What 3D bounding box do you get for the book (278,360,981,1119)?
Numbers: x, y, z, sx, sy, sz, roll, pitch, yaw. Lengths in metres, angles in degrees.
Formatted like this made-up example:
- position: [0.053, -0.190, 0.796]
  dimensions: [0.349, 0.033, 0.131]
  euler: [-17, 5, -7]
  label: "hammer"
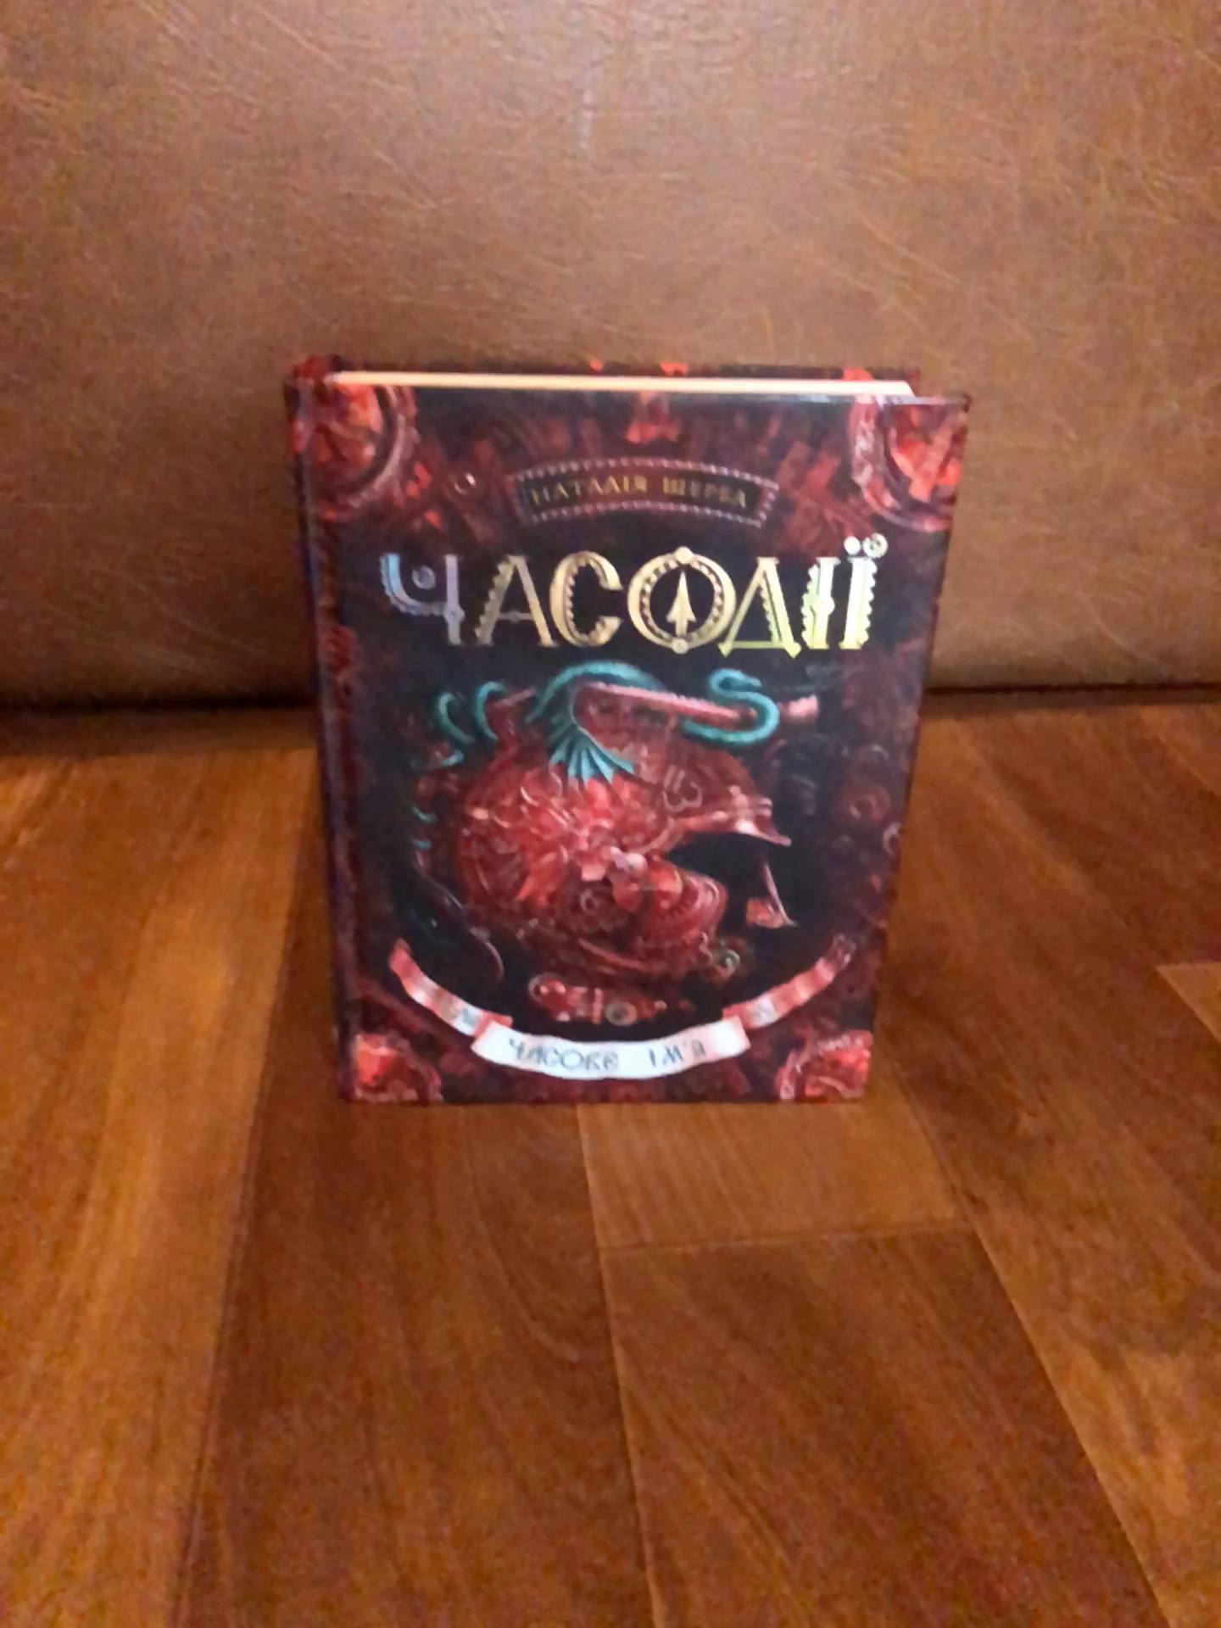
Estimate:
- position: [0.001, -0.012, 0.392]
  dimensions: [0.170, 0.220, 0.040]
  euler: [0, 27, -4]
  label: "book"
